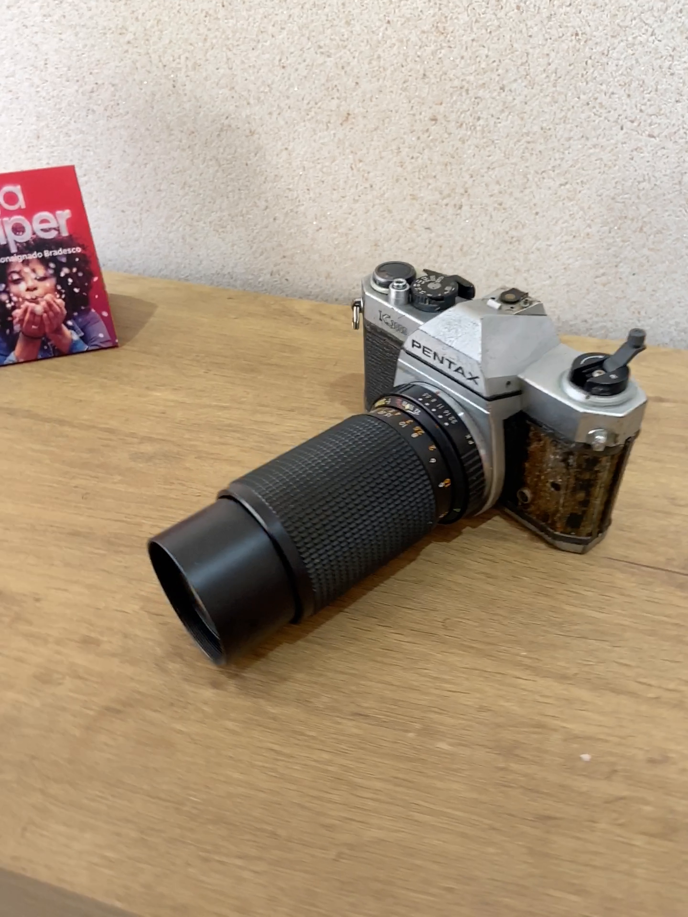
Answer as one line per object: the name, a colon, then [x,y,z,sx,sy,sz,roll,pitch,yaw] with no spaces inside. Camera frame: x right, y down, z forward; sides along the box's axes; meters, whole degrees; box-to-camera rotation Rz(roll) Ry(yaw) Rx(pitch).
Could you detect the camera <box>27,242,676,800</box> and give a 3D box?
camera: [0.004,-0.001,0.282,0.181,0.079,0.150,-30,47,-30]
